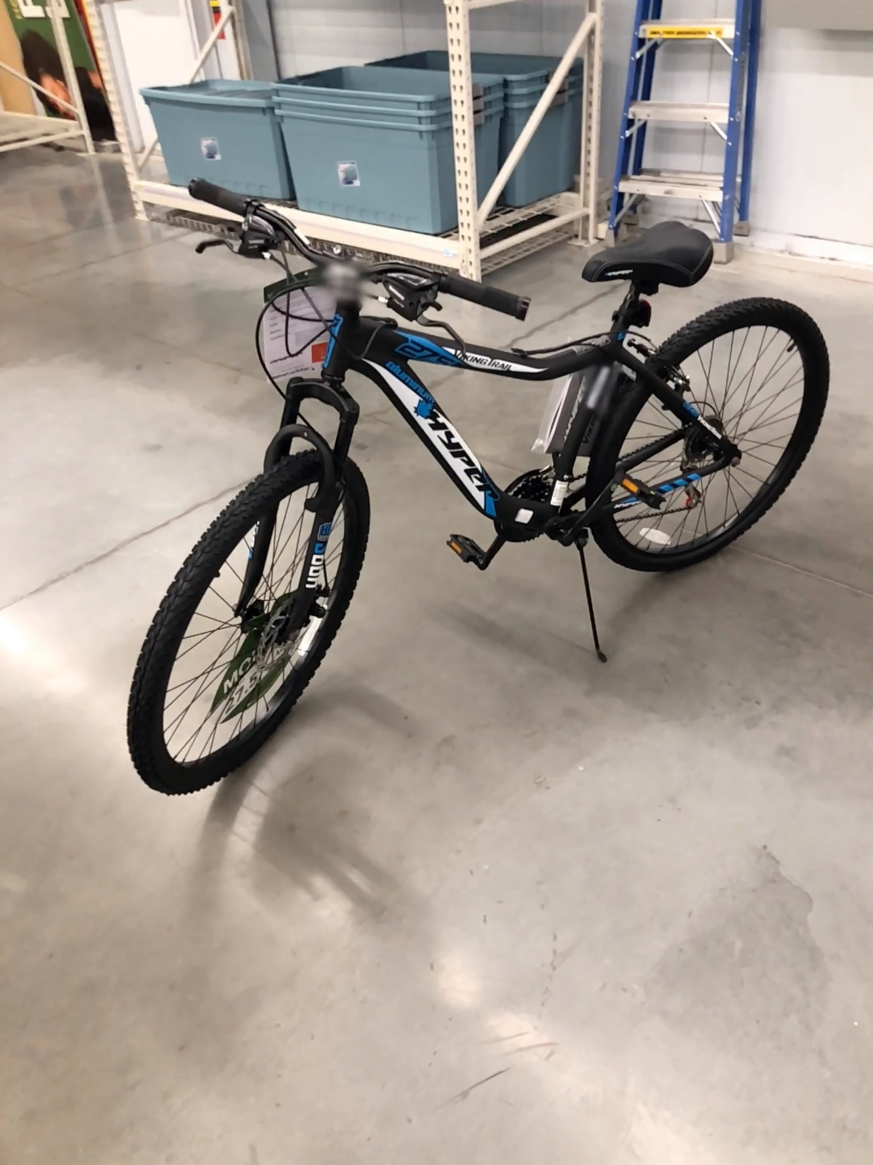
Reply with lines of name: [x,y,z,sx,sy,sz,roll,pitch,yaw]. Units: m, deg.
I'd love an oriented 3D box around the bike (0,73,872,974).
bike: [0.194,-0.241,1.779,1.636,0.986,0.574,-26,41,-26]
